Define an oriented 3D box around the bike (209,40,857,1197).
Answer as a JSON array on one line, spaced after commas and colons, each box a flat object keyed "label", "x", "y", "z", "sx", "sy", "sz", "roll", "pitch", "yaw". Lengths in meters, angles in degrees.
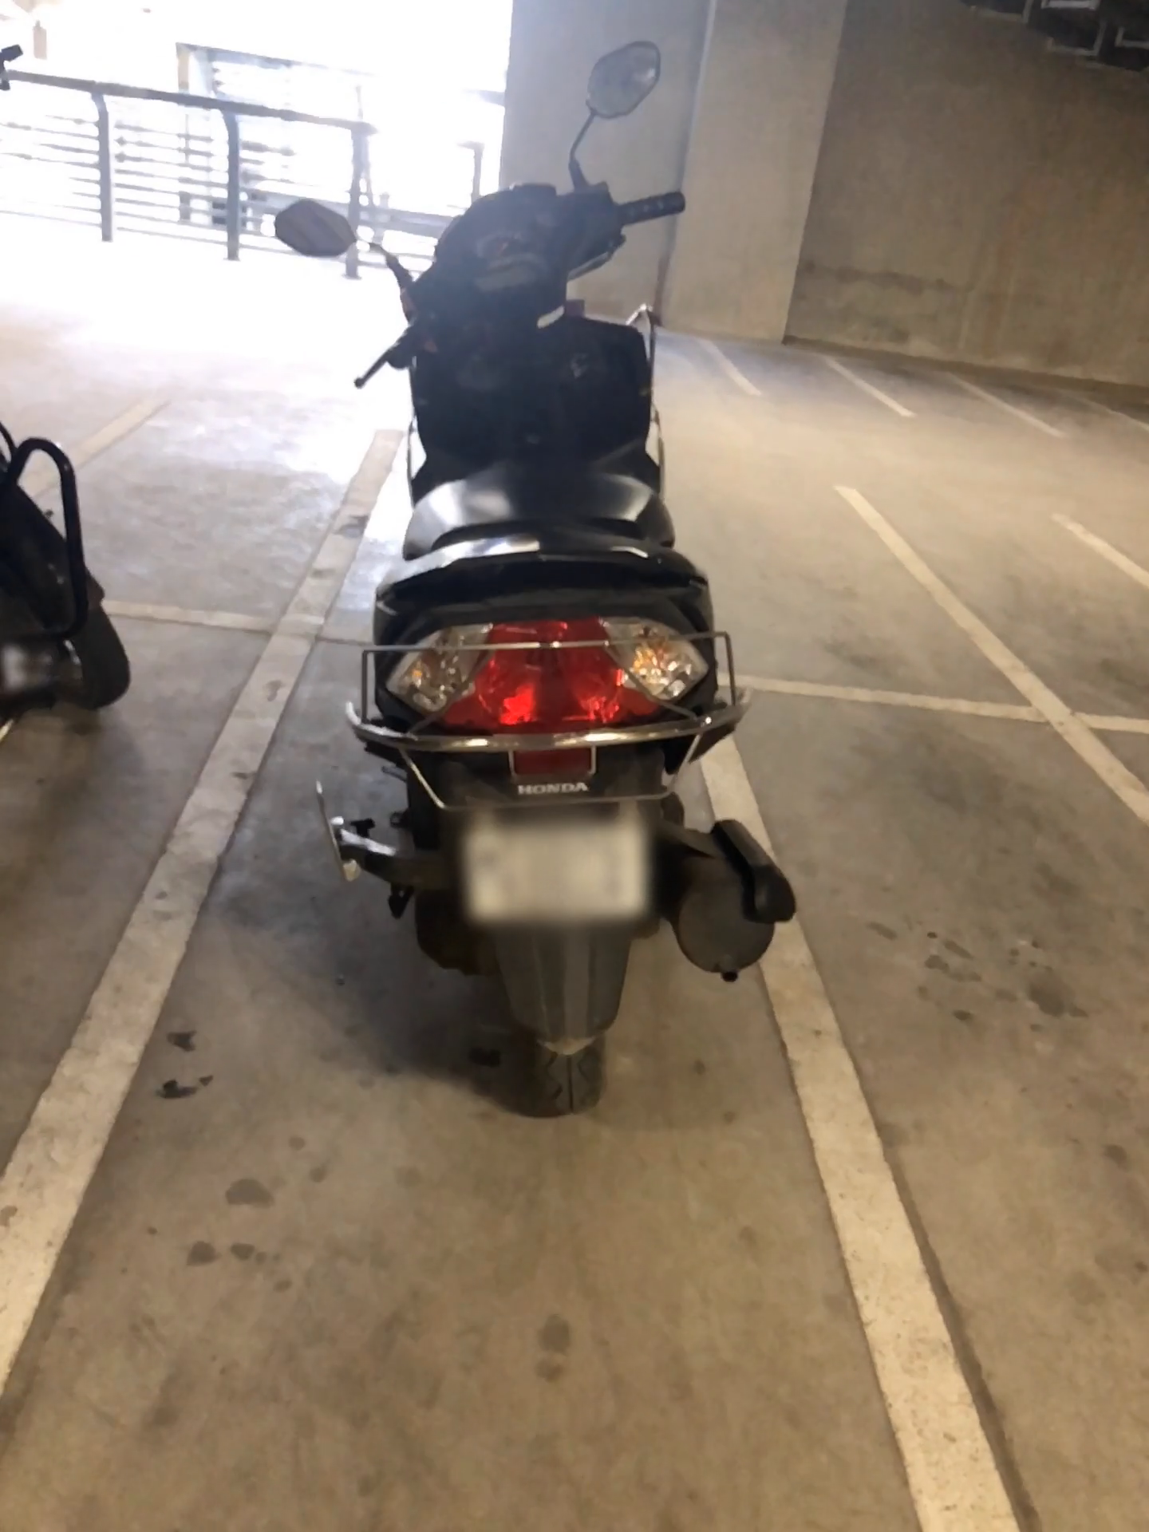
[{"label": "bike", "x": -0.179, "y": -0.505, "z": 2.238, "sx": 0.582, "sy": 1.188, "sz": 1.961, "roll": 5, "pitch": 30, "yaw": -8}]
